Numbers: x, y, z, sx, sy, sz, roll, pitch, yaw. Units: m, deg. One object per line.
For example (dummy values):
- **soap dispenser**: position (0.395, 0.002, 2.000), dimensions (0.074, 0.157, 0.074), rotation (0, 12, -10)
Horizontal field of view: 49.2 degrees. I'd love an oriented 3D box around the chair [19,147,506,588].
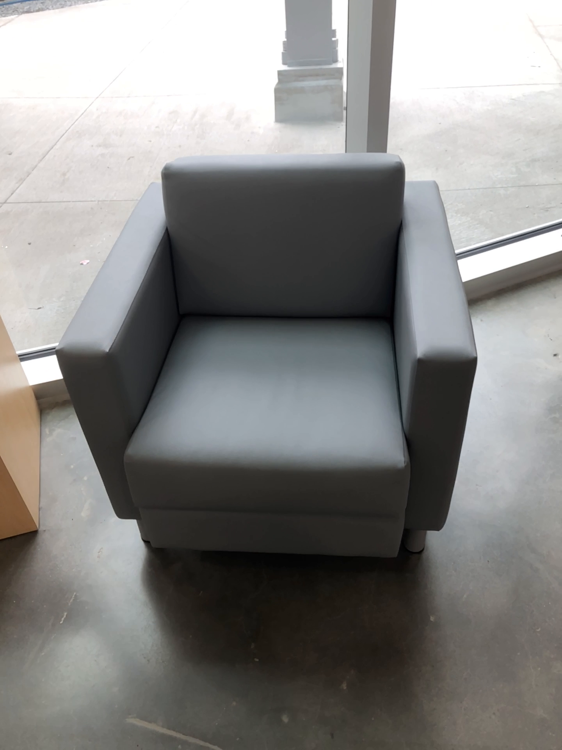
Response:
- **chair**: position (0.004, -0.046, 1.485), dimensions (0.770, 0.695, 0.785), rotation (1, 42, 5)
